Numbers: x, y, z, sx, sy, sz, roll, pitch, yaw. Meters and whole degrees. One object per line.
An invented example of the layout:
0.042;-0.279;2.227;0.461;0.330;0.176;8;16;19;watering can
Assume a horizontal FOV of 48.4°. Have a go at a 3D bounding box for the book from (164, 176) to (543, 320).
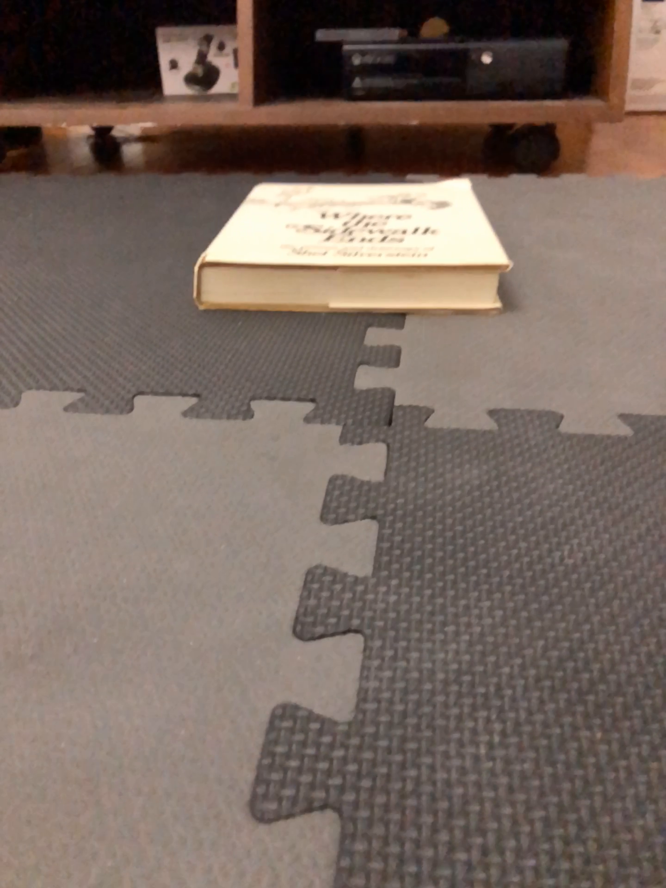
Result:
0.019;-0.148;0.521;0.200;0.030;0.282;1;29;4;book
